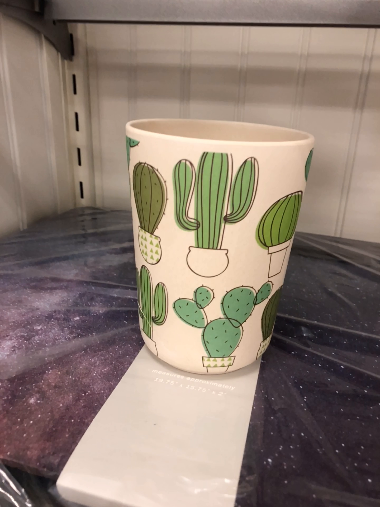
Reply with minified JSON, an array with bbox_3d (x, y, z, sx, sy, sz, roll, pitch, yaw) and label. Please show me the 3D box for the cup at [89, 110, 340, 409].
[{"bbox_3d":[0.015,-0.009,0.244,0.100,0.129,0.090,14,25,28],"label":"cup"}]
